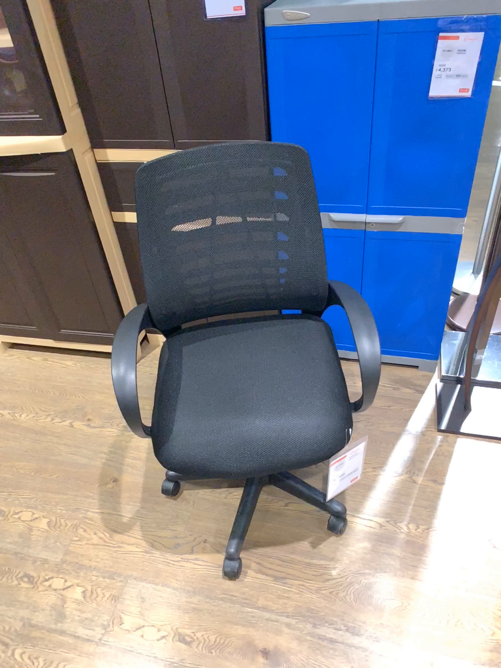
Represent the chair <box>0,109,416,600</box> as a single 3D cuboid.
[{"bbox_3d":[-0.043,0.093,1.245,0.600,0.996,0.603,-6,39,1],"label":"chair"}]
